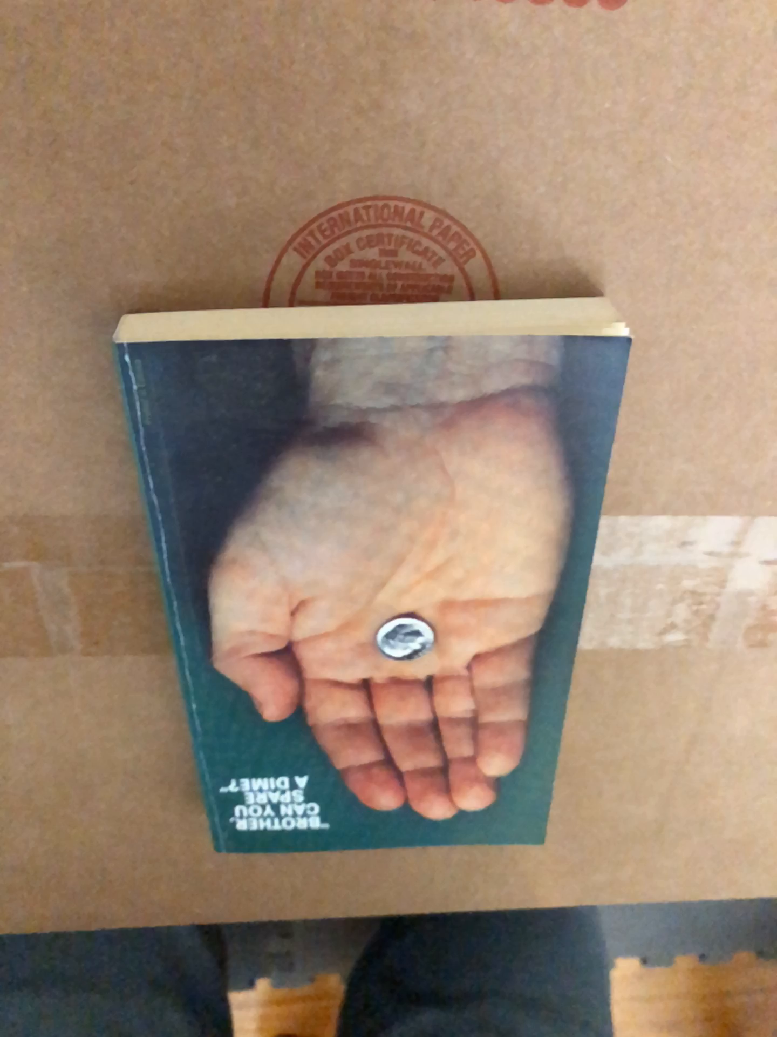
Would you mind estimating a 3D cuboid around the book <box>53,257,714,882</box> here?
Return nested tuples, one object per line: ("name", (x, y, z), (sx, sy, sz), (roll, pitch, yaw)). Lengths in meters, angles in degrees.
("book", (0.000, 0.028, 0.220), (0.120, 0.020, 0.181), (-2, 126, -3))
